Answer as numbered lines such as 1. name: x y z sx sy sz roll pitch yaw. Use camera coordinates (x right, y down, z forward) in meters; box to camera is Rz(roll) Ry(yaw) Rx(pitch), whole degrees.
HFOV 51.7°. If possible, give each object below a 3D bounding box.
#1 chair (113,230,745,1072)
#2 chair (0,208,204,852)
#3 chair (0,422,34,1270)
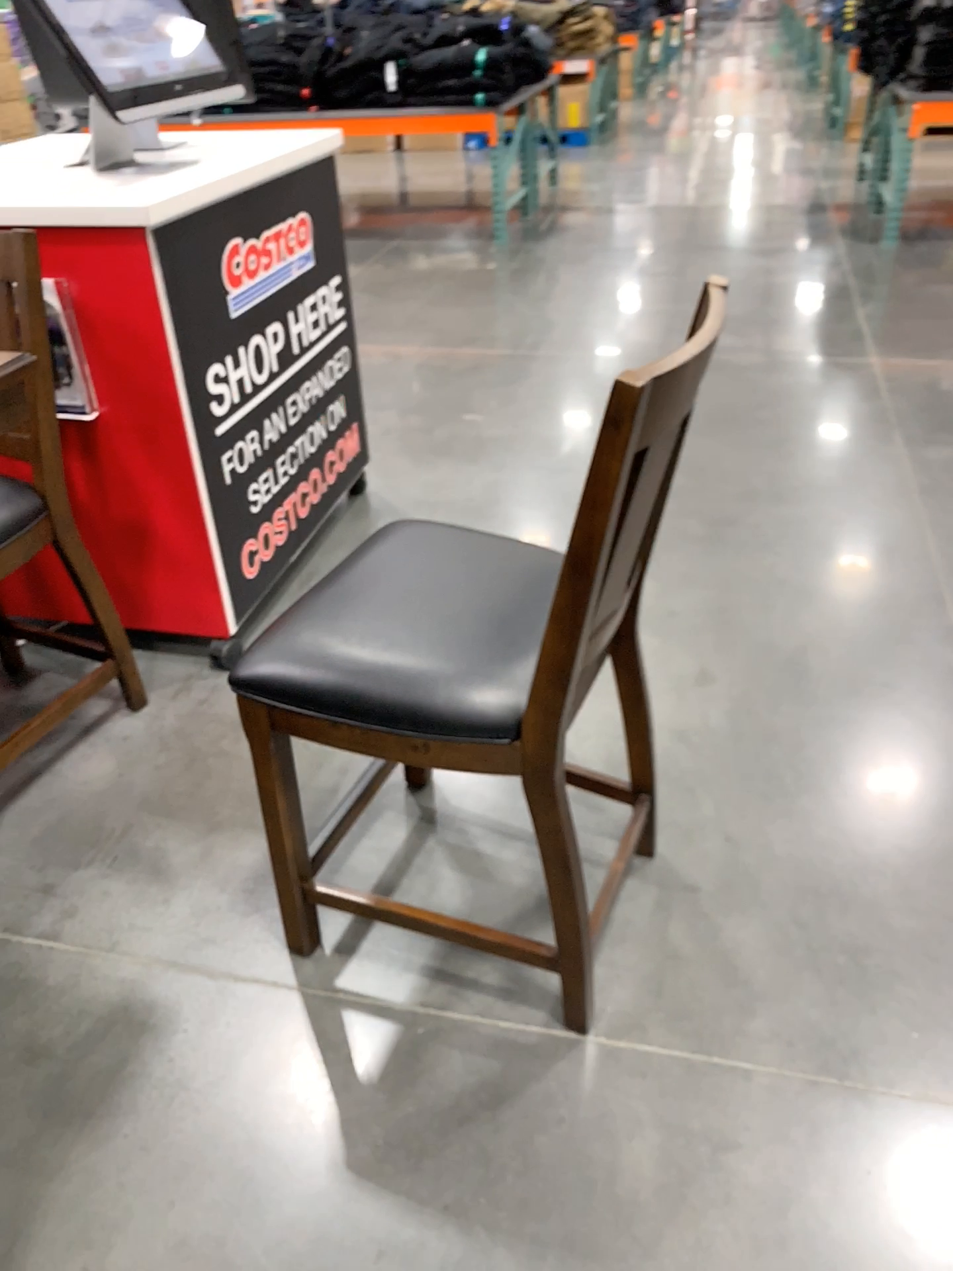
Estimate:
1. chair: -0.003 0.014 1.443 0.588 1.021 0.526 10 35 19
2. chair: -1.053 -0.226 1.853 0.655 0.952 0.600 11 36 20
3. chair: -0.835 0.454 0.833 0.544 1.021 0.590 -17 36 -21
